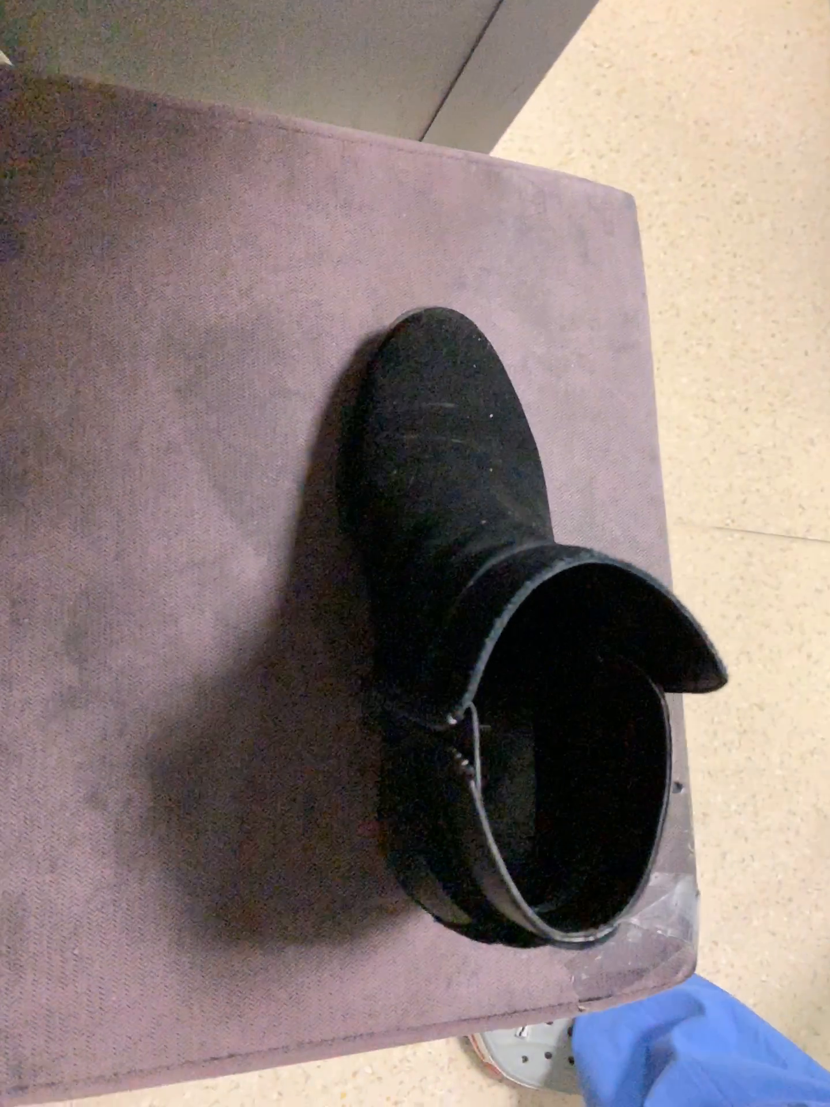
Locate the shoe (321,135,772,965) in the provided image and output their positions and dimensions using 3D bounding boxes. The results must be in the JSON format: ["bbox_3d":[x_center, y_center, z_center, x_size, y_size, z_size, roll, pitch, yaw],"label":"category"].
[{"bbox_3d":[0.032,0.003,0.316,0.100,0.137,0.235,4,78,-20],"label":"shoe"}]
